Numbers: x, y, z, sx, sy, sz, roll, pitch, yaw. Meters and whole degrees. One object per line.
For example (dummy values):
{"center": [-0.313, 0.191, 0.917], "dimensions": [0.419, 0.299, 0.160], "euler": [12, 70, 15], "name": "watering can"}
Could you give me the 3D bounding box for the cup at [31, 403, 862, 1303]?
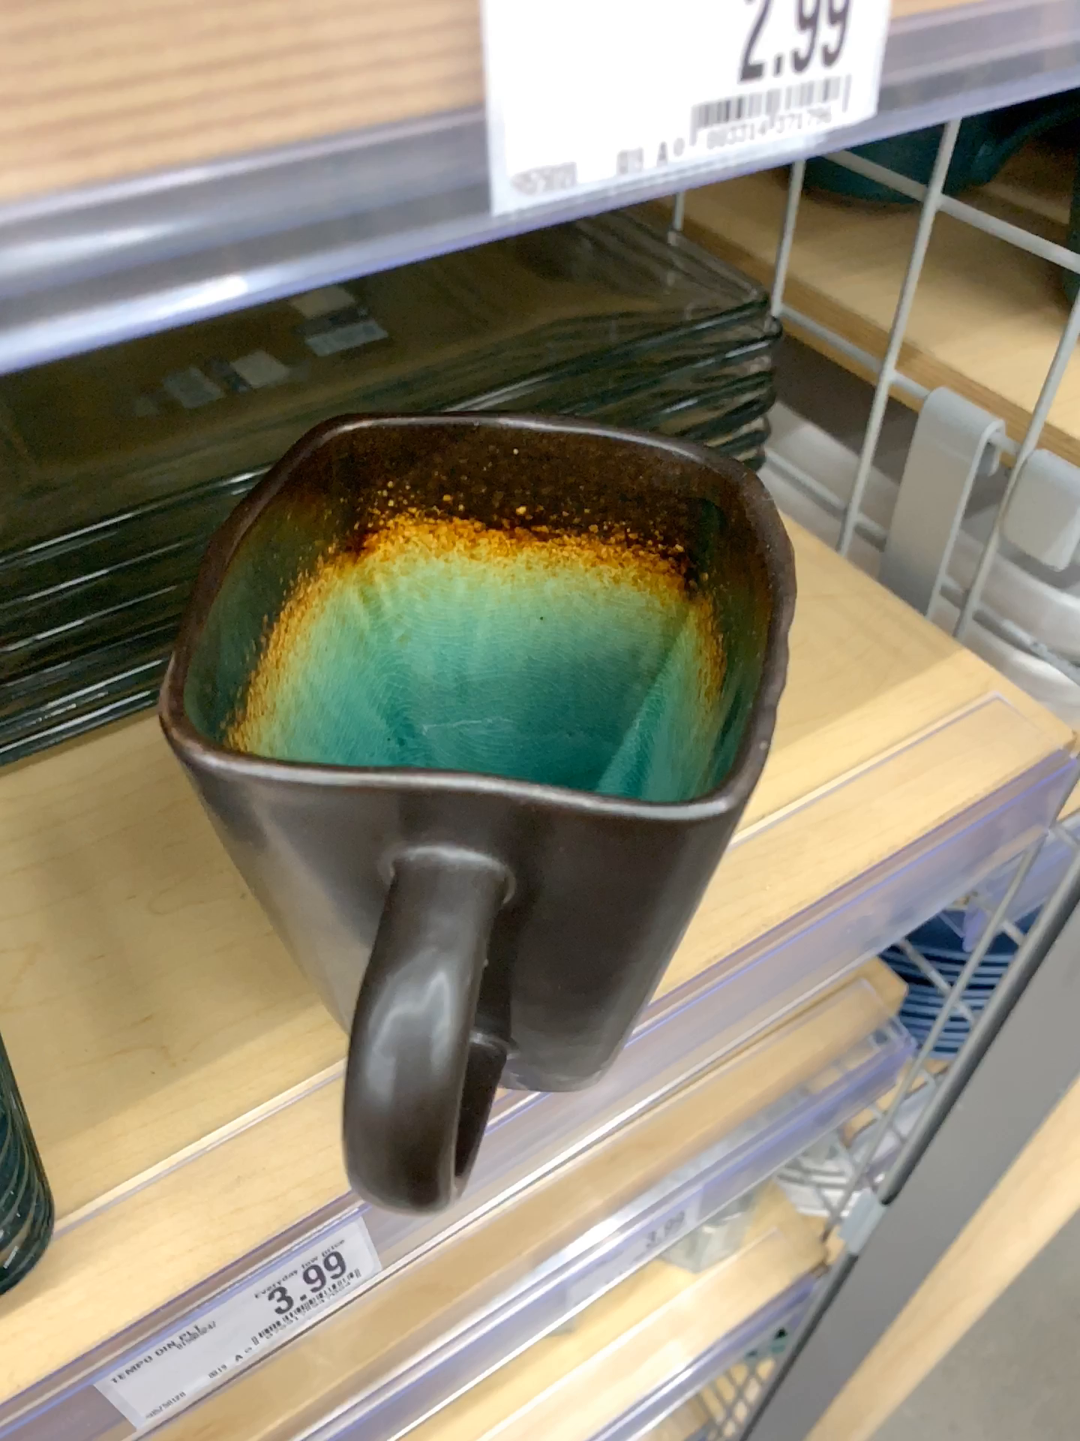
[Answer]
{"center": [-0.008, 0.021, 0.192], "dimensions": [0.088, 0.099, 0.108], "euler": [4, 45, 2], "name": "cup"}
